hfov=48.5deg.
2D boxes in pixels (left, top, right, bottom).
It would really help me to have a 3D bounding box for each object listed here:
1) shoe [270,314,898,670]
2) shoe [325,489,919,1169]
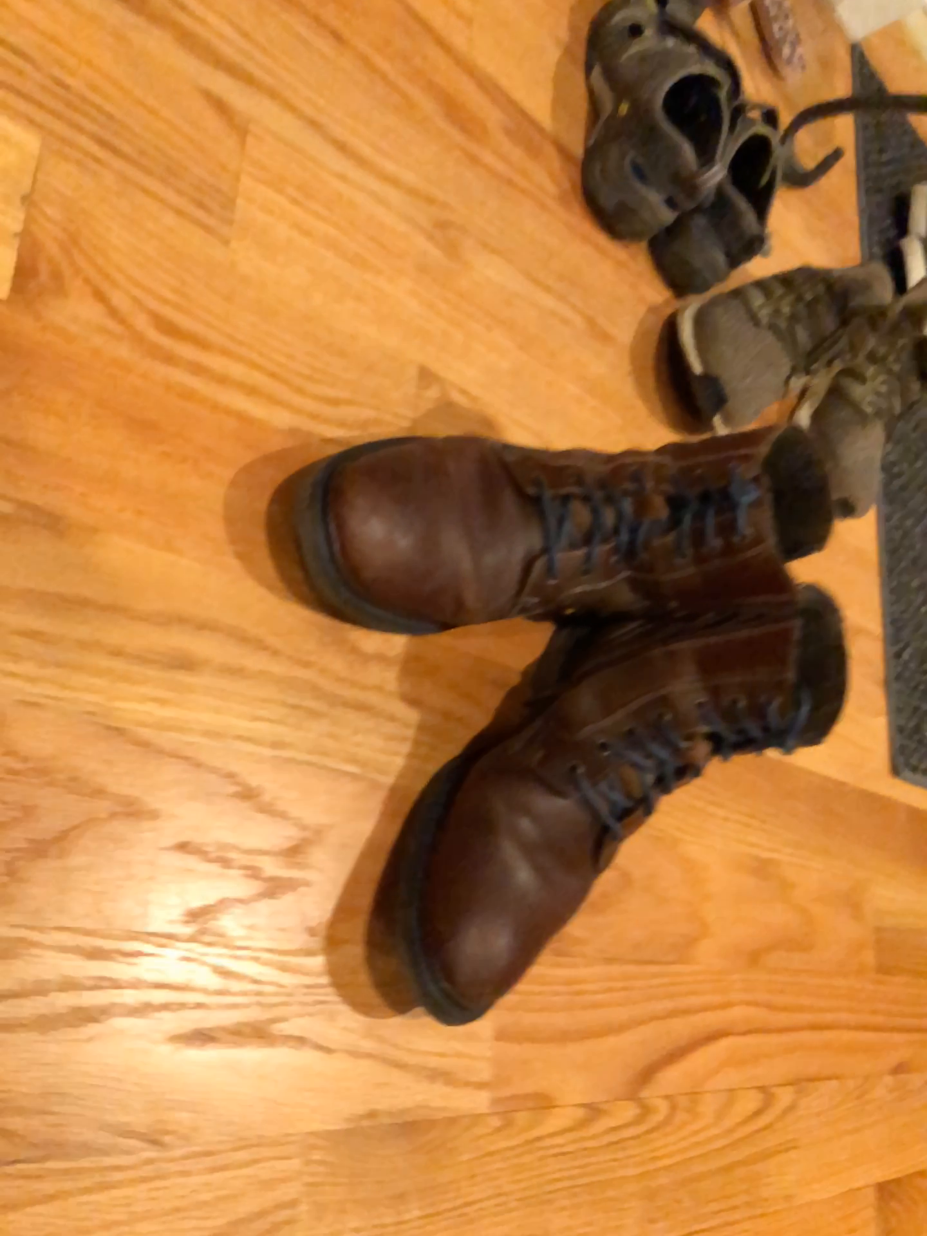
[{"bbox_3d":[0.081,-0.052,0.551,0.311,0.168,0.113,-4,84,-47],"label":"shoe"},{"bbox_3d":[0.101,0.089,0.542,0.128,0.176,0.305,55,47,-22],"label":"shoe"}]
